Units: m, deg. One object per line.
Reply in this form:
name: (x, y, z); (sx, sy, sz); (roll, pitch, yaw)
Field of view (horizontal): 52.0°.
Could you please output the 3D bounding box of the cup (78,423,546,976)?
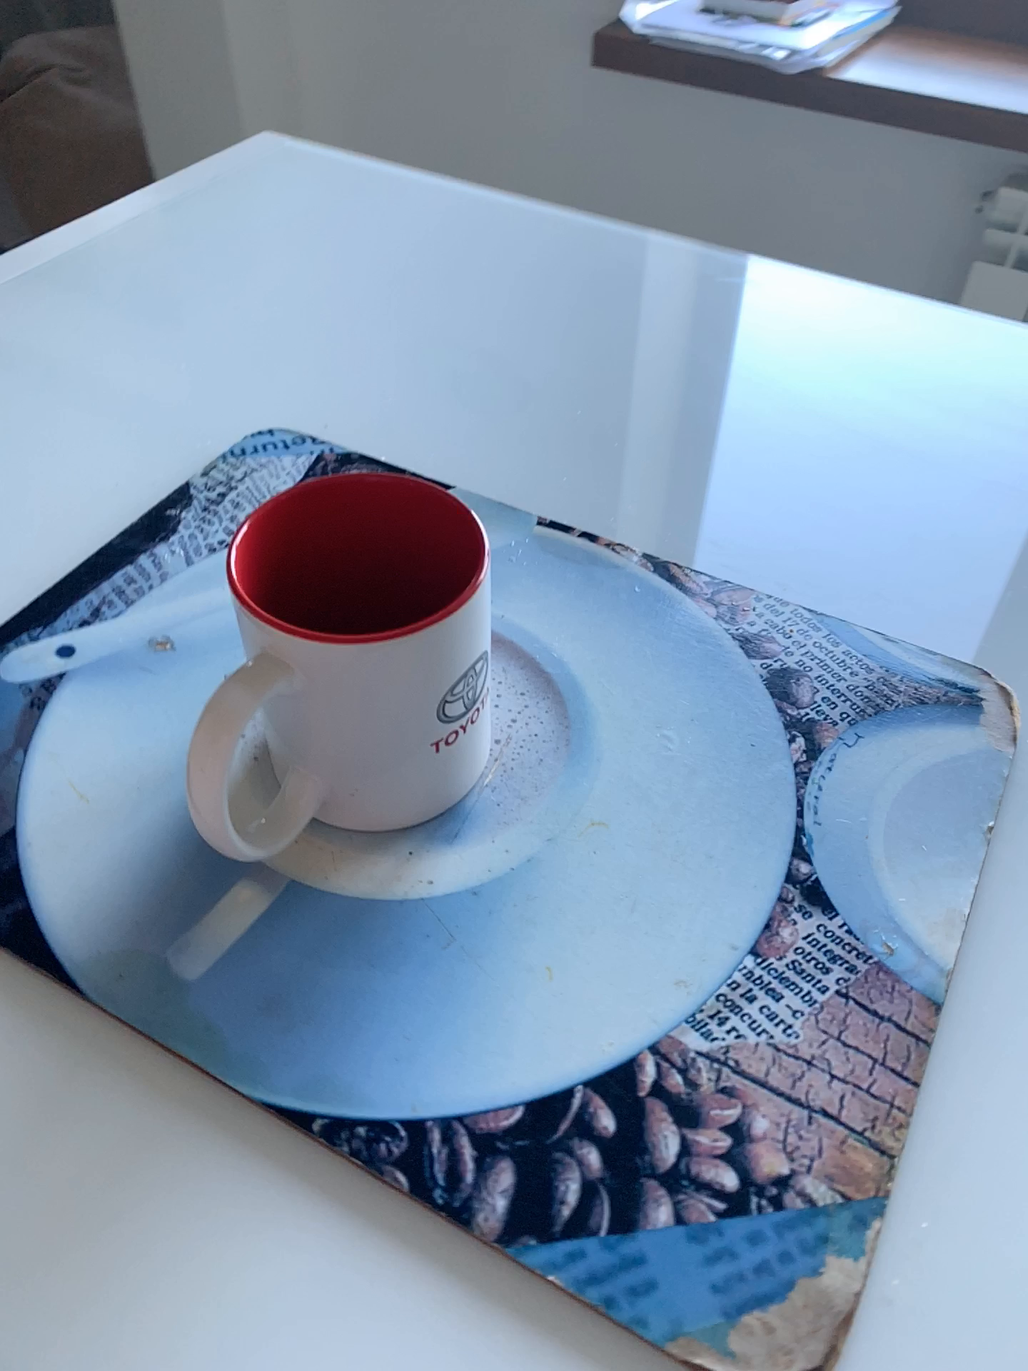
cup: (-0.054, 0.003, 0.345); (0.077, 0.115, 0.117); (24, 51, 20)
